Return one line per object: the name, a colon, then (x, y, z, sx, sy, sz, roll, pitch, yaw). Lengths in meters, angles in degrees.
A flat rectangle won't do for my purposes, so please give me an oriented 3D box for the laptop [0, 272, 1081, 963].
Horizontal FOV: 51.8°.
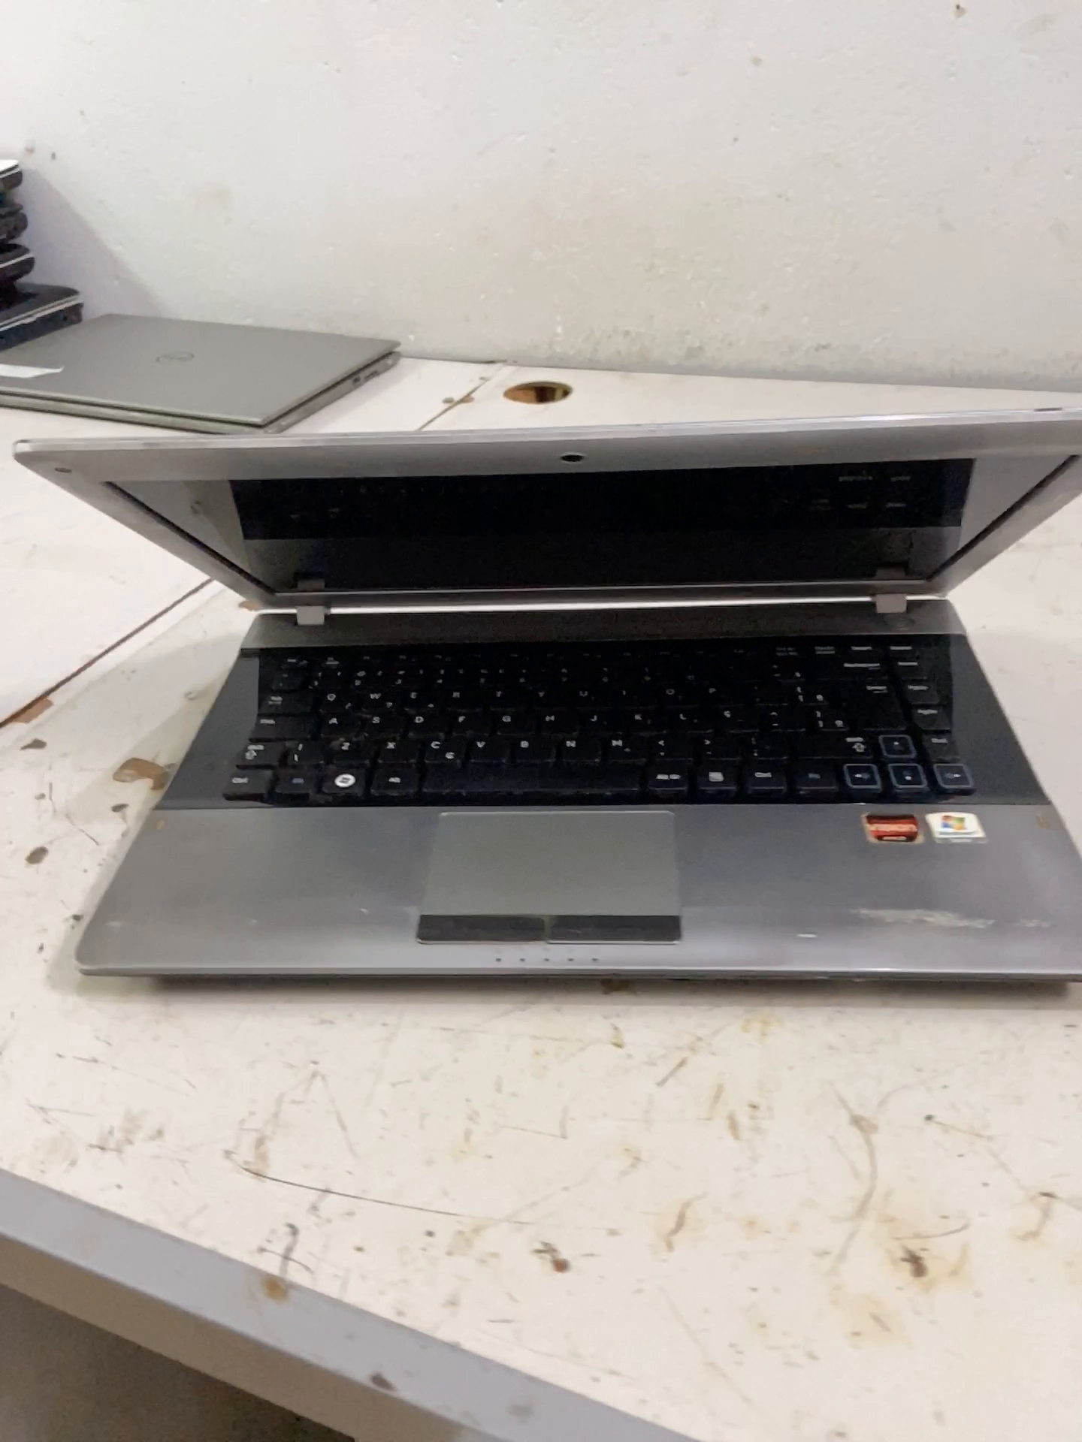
laptop: (0.016, -0.052, 0.415, 0.344, 0.150, 0.234, -1, 35, 4)
